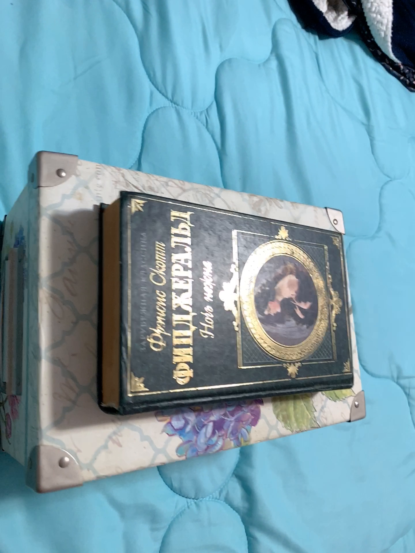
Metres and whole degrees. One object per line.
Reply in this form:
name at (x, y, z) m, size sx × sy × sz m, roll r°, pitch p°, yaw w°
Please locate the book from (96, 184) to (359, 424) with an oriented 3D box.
book at (0.028, 0.022, 0.323) m, size 0.221 × 0.030 × 0.140 m, roll 5°, pitch 78°, yaw -35°
